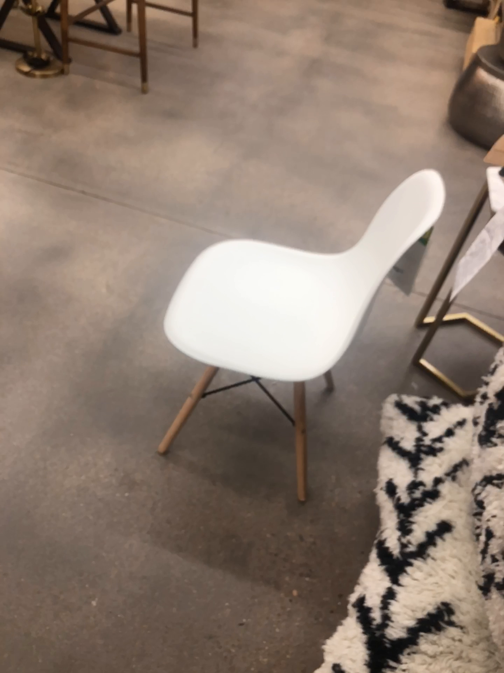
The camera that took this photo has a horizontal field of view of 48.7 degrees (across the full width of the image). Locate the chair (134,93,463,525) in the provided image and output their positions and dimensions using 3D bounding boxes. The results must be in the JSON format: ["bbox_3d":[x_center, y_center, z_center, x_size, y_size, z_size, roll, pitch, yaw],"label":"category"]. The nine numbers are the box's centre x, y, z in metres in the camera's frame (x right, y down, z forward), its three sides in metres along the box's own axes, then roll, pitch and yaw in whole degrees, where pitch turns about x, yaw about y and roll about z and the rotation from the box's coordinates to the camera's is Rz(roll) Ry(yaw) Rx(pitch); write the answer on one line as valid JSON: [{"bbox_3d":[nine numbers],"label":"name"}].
[{"bbox_3d":[0.071,-0.031,1.323,0.530,0.806,0.442,18,45,8],"label":"chair"}]
